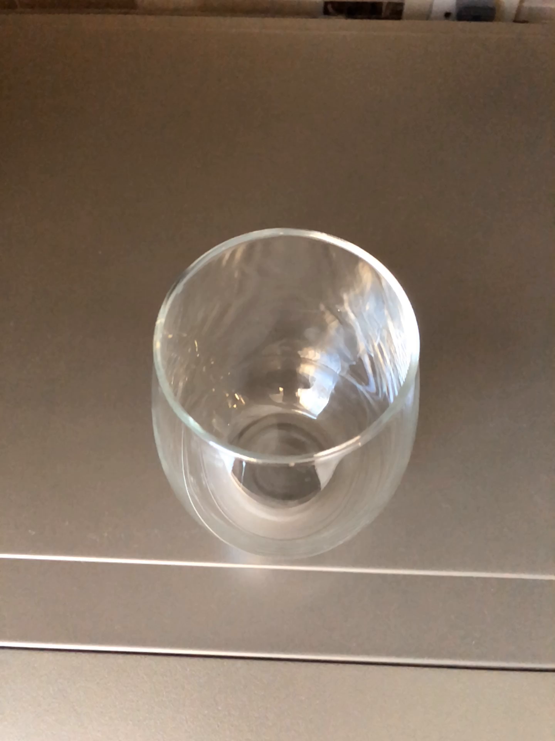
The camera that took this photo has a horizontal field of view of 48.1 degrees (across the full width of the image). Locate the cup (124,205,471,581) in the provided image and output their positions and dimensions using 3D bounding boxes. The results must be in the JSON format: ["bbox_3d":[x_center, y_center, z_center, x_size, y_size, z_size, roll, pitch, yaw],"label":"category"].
[{"bbox_3d":[0.002,0.016,0.205,0.078,0.104,0.083,0,64,1],"label":"cup"}]
